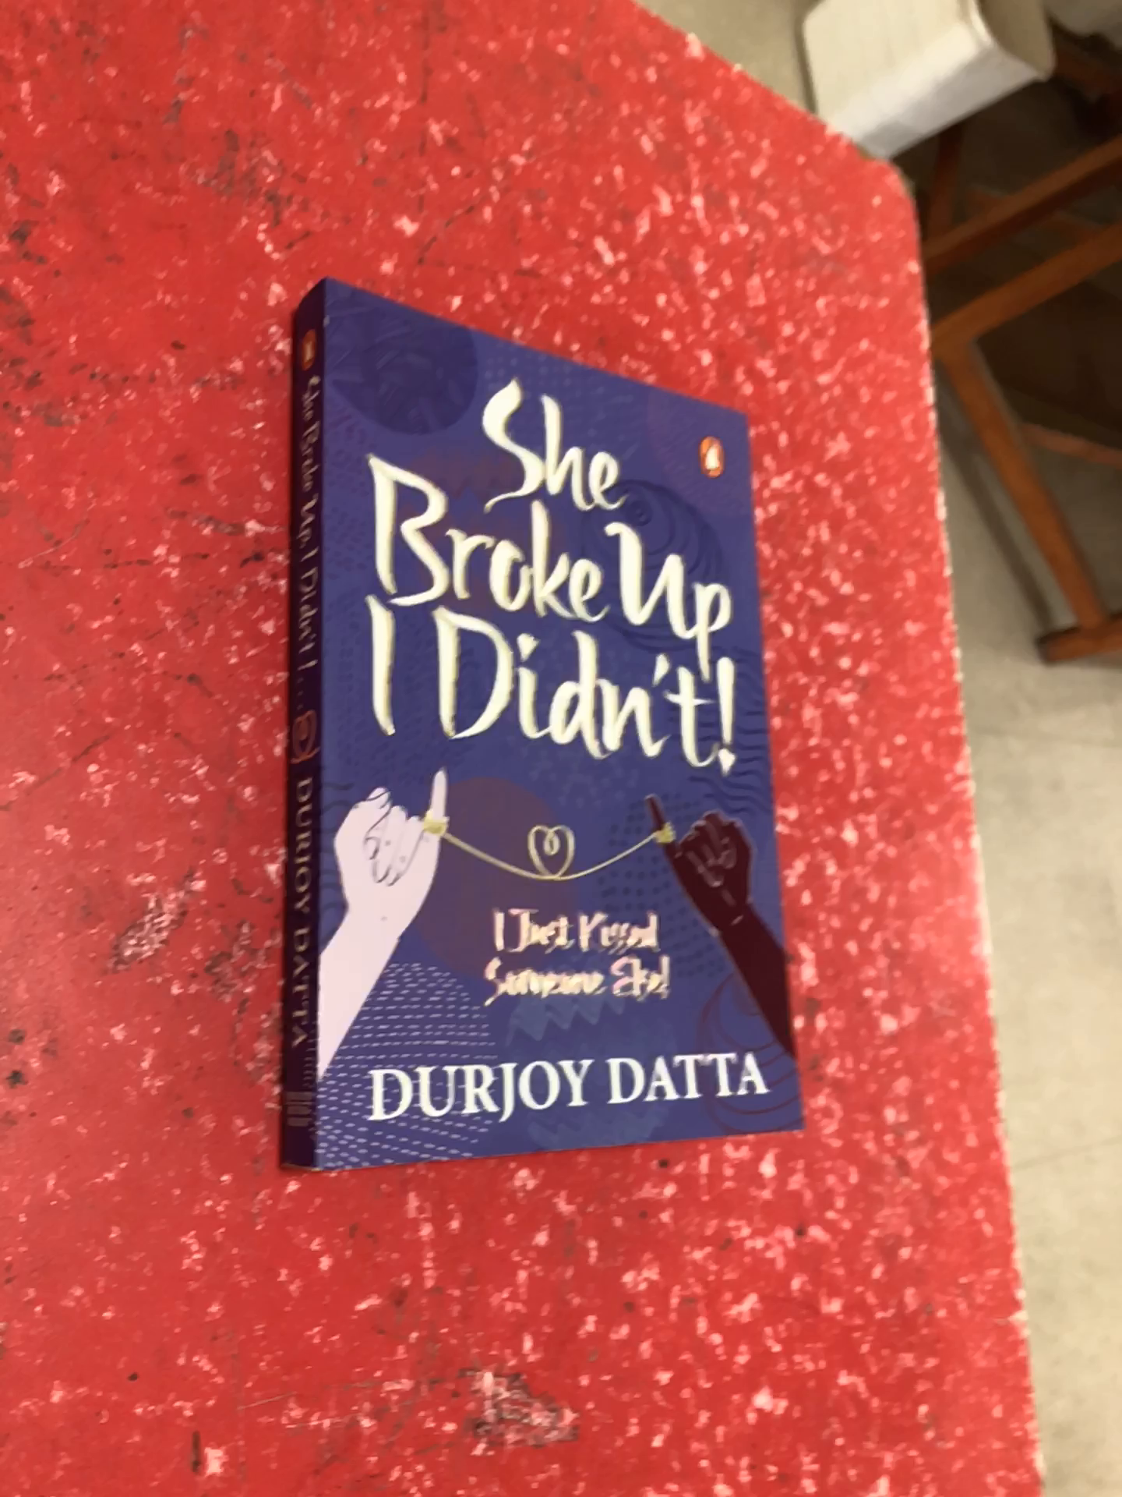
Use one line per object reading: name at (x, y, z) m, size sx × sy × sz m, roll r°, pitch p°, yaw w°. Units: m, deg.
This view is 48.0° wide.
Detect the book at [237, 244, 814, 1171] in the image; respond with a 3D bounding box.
book at (-0.006, -0.005, 0.303) m, size 0.131 × 0.040 × 0.190 m, roll 8°, pitch 73°, yaw -37°
